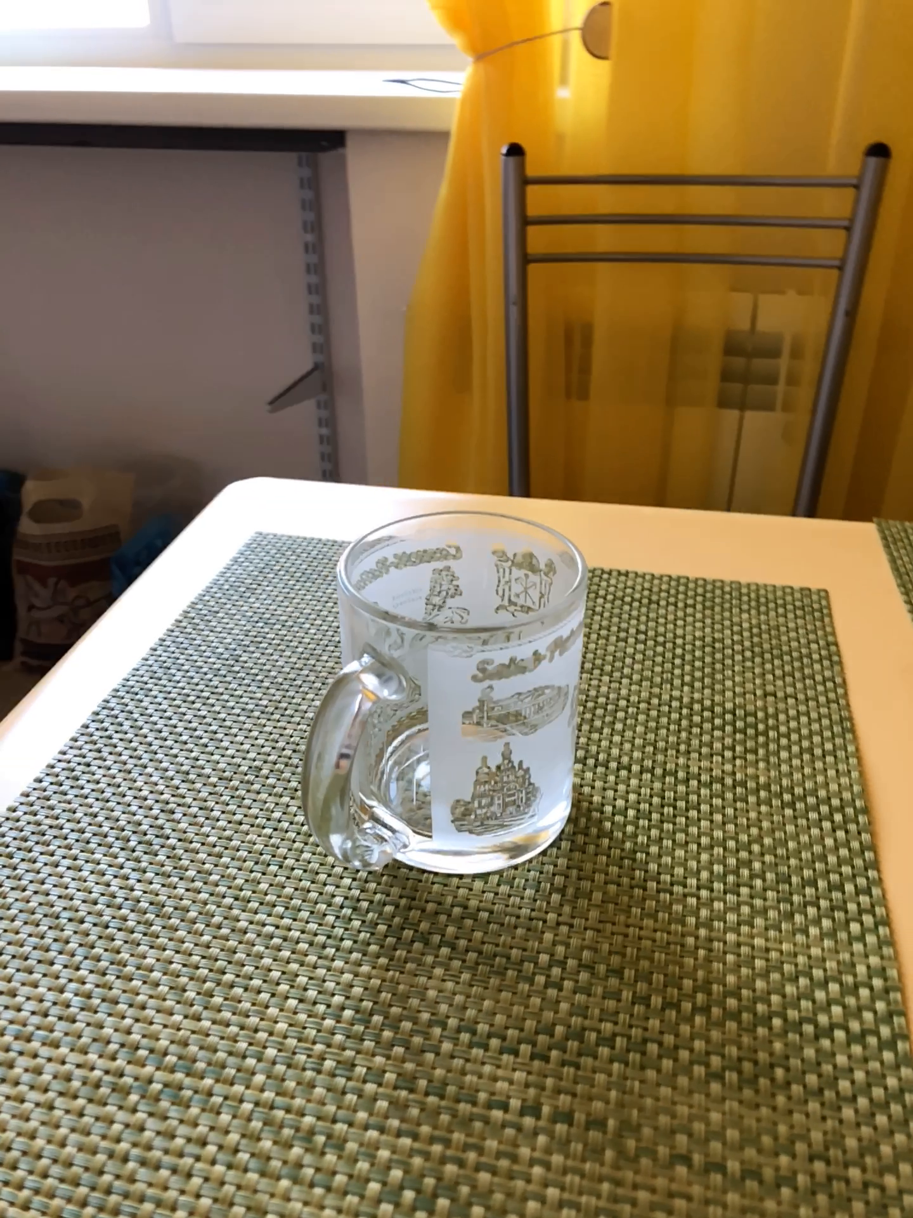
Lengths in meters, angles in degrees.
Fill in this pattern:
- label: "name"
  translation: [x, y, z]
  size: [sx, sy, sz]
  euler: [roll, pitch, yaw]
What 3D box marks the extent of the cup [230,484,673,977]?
- label: "cup"
  translation: [0.001, 0.031, 0.334]
  size: [0.087, 0.096, 0.110]
  euler: [22, 37, 33]
